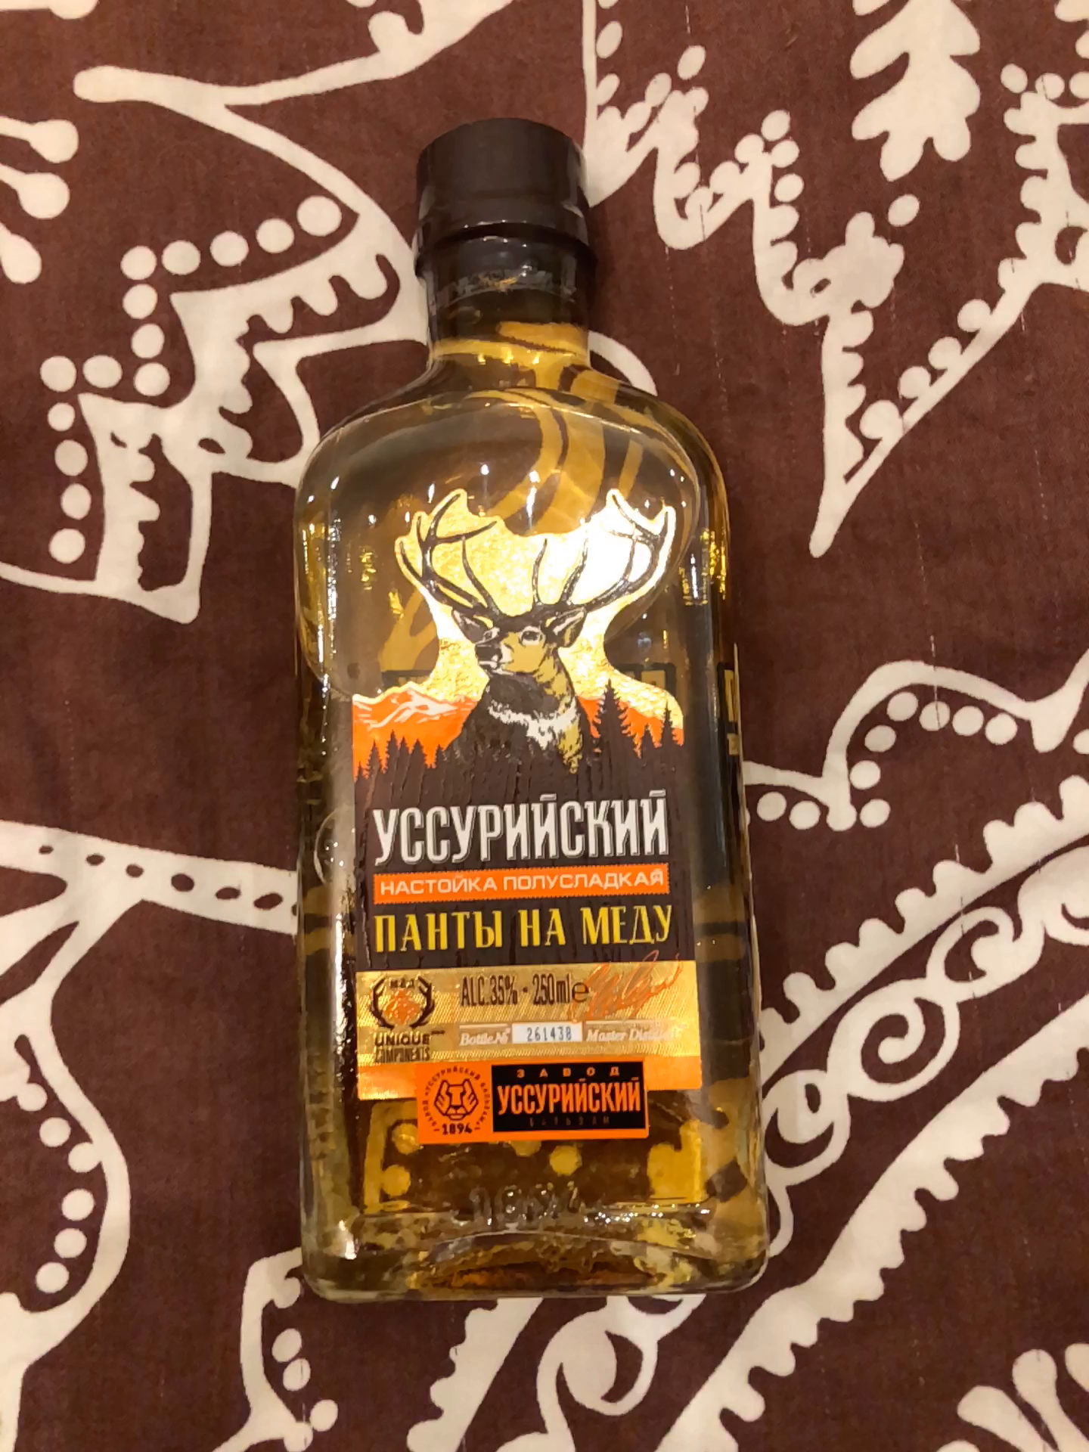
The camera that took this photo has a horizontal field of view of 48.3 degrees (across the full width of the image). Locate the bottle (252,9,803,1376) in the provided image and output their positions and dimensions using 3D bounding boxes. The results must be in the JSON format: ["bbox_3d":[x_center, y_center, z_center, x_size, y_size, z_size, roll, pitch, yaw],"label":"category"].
[{"bbox_3d":[-0.004,-0.008,0.193,0.070,0.050,0.190,-2,81,4],"label":"bottle"}]
